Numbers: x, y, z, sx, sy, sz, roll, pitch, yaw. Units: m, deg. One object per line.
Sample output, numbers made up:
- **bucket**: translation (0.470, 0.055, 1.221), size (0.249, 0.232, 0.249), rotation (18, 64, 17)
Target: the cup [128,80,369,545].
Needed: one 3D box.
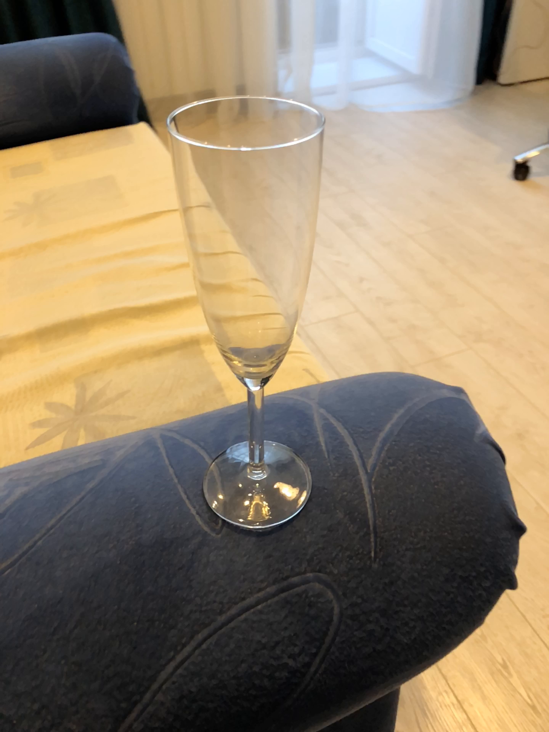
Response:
- **cup**: translation (-0.009, -0.014, 0.301), size (0.076, 0.214, 0.072), rotation (-2, 39, 1)
